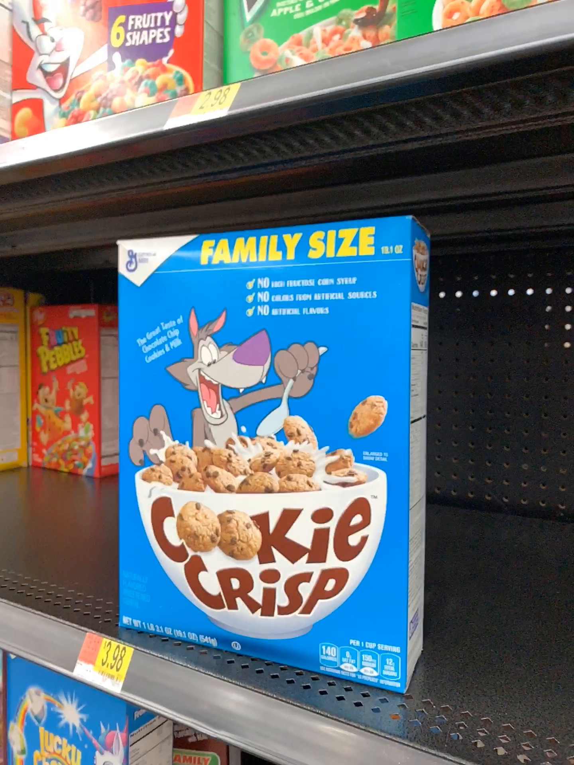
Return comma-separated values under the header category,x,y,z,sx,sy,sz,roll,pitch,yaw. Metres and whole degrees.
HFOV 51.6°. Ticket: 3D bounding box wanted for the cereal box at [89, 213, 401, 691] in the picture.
category,x,y,z,sx,sy,sz,roll,pitch,yaw
cereal box,-0.039,0.047,0.496,0.250,0.340,0.070,2,3,21
